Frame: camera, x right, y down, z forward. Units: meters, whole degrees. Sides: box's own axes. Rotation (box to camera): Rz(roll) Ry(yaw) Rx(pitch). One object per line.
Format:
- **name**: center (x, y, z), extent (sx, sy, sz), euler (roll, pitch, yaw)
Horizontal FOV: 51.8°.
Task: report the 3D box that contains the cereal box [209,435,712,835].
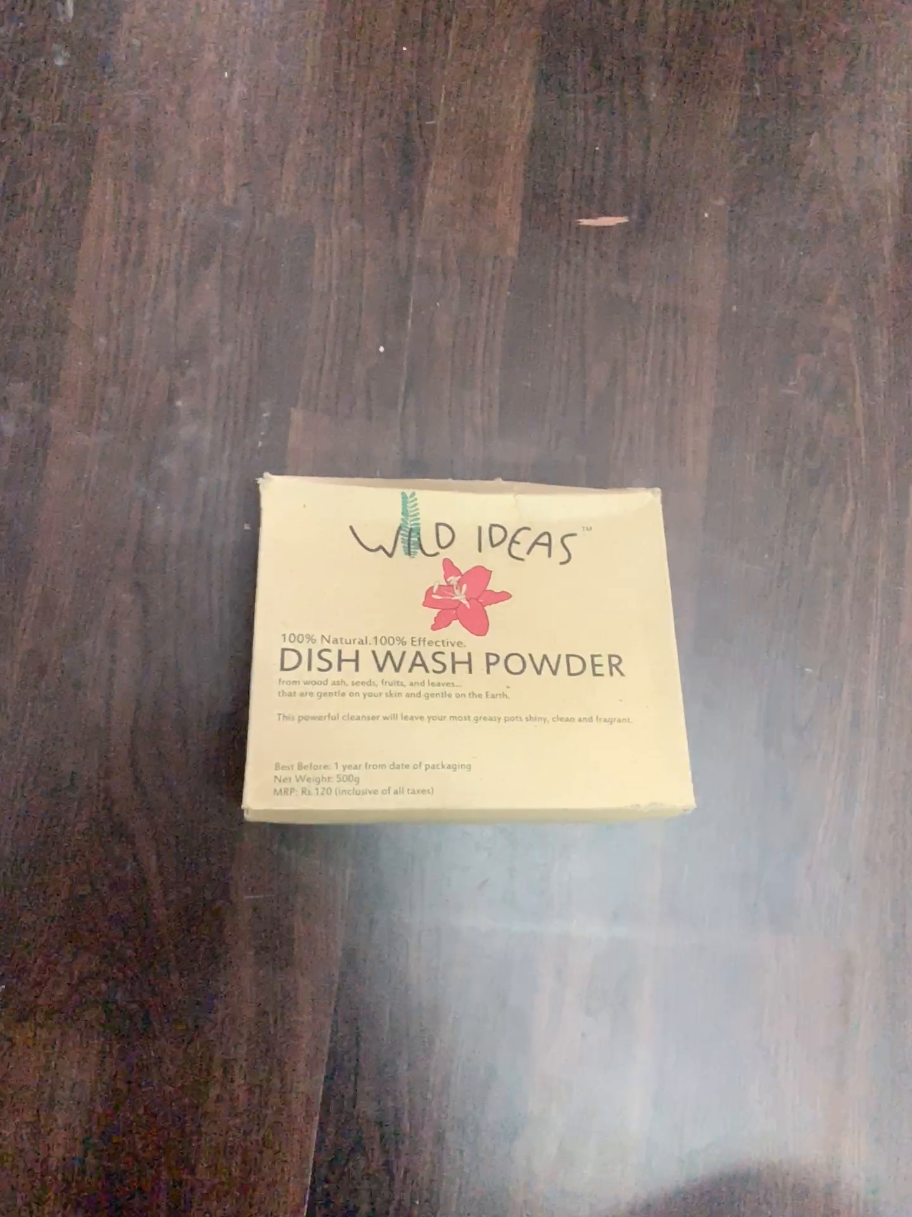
- **cereal box**: center (0.000, 0.013, 0.388), extent (0.180, 0.060, 0.150), euler (1, 70, -6)
